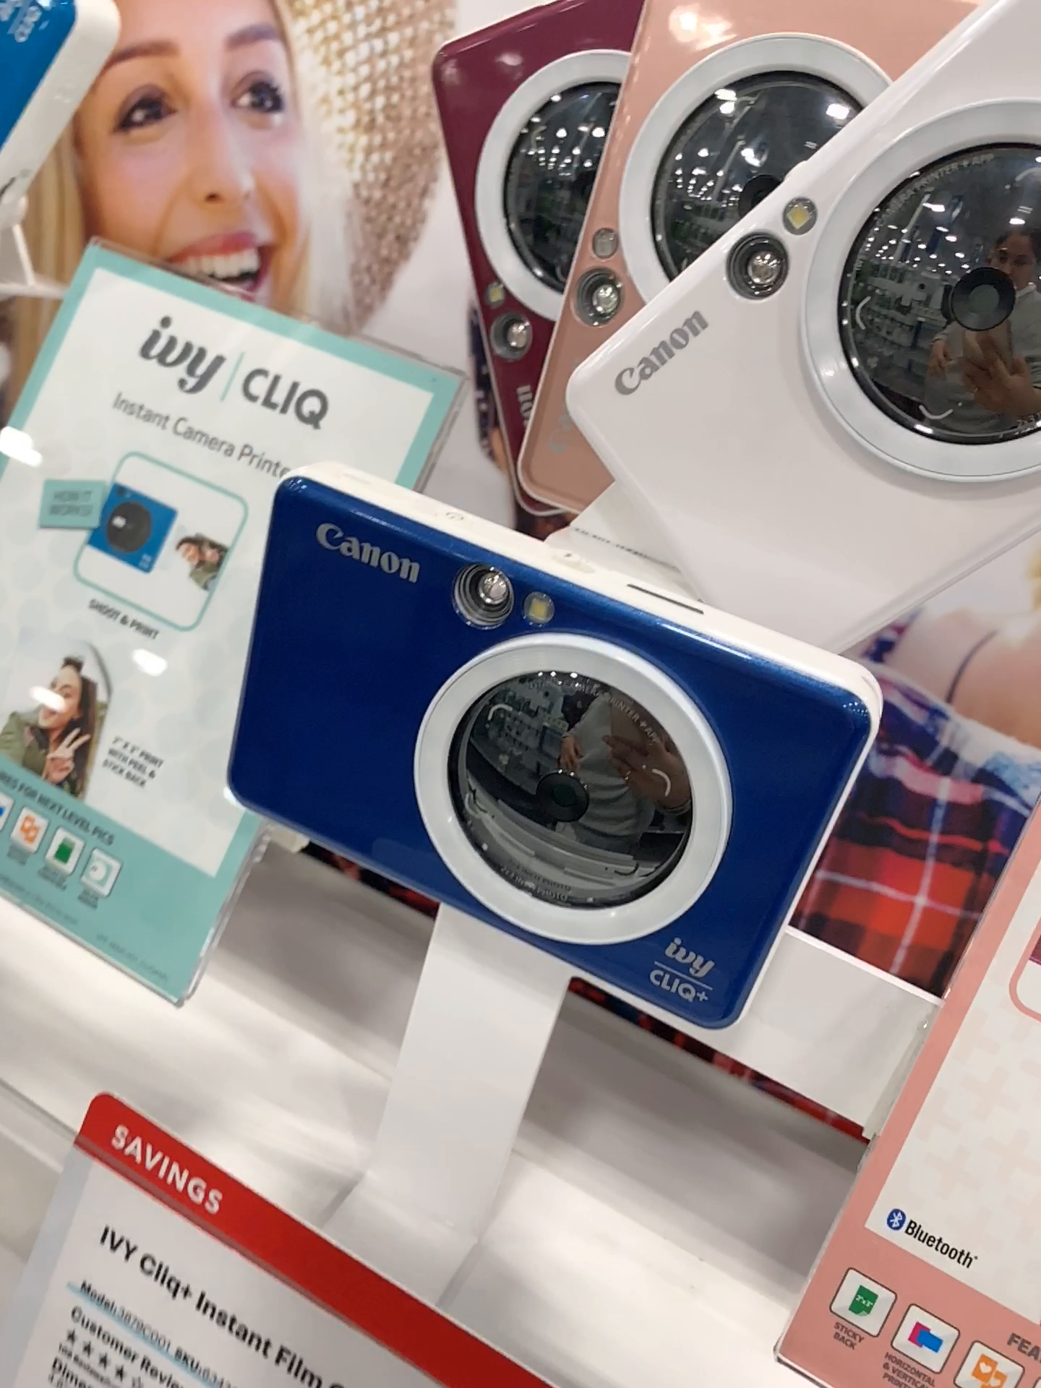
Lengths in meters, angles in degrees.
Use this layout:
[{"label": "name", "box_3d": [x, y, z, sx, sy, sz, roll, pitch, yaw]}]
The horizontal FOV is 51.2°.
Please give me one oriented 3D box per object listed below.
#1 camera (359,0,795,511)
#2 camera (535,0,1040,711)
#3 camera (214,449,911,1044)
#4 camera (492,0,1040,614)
[{"label": "camera", "box_3d": [0.016, -0.106, 0.257, 0.078, 0.110, 0.028, -5, 19, 25]}, {"label": "camera", "box_3d": [0.073, -0.063, 0.202, 0.078, 0.120, 0.028, 55, 30, 1]}, {"label": "camera", "box_3d": [0.002, 0.007, 0.212, 0.120, 0.070, 0.028, 22, 27, 14]}, {"label": "camera", "box_3d": [0.047, -0.089, 0.234, 0.078, 0.119, 0.028, 22, 26, 15]}]
